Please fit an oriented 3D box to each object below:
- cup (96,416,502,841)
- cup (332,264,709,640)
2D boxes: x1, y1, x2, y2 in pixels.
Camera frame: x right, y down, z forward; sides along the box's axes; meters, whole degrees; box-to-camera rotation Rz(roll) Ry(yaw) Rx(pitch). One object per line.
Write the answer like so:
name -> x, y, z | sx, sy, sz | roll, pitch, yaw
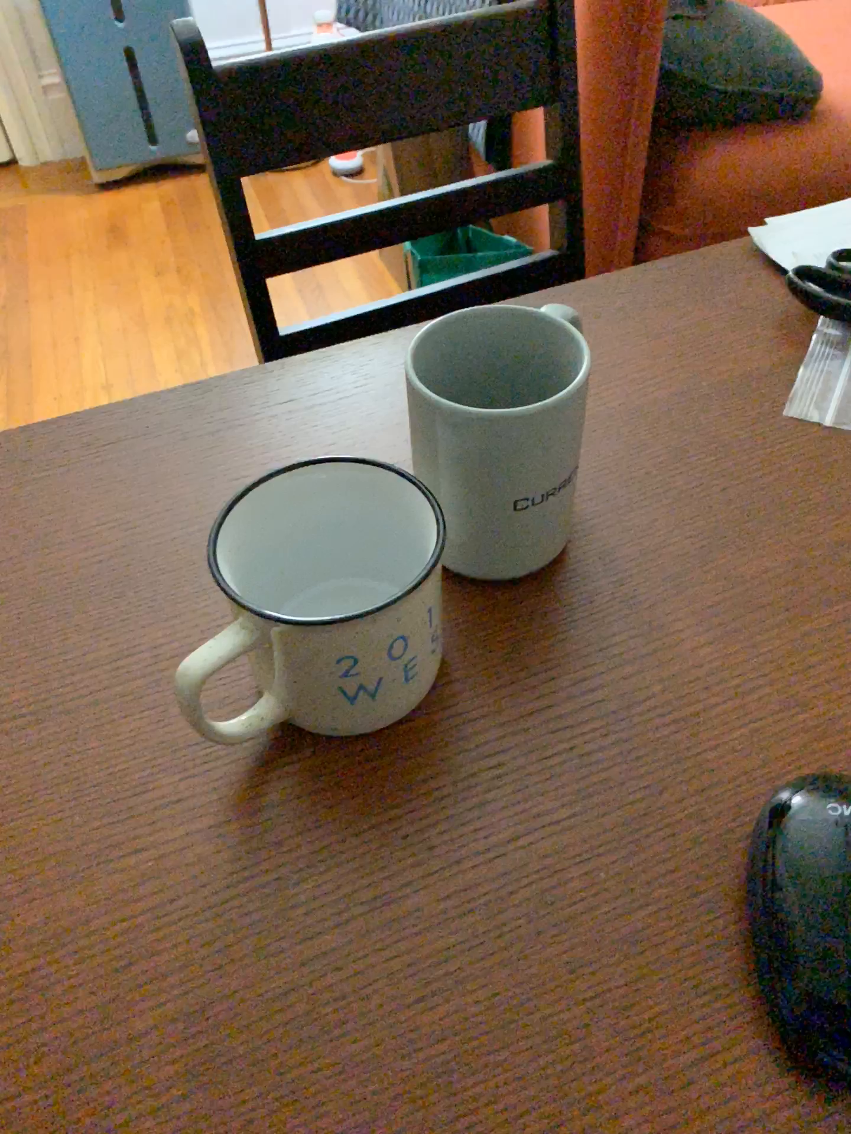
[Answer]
cup -> -0.049, 0.023, 0.388 | 0.130, 0.099, 0.100 | -32, 54, -23
cup -> 0.045, -0.061, 0.434 | 0.140, 0.099, 0.100 | -32, 54, -23
